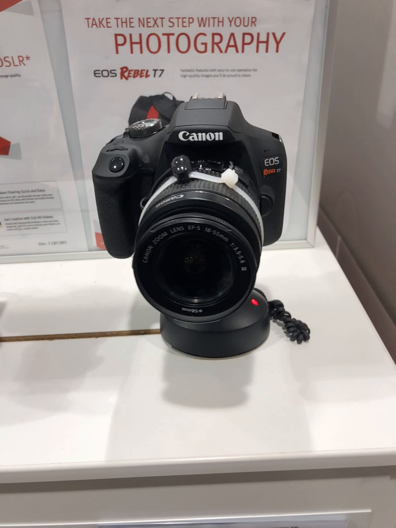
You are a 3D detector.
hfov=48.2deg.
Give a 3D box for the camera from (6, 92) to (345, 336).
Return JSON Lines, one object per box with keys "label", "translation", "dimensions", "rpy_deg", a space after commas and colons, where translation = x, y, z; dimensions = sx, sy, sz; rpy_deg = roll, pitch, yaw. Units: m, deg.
{"label": "camera", "translation": [-0.005, -0.040, 0.269], "dimensions": [0.140, 0.090, 0.151], "rpy_deg": [-1, 31, 4]}
